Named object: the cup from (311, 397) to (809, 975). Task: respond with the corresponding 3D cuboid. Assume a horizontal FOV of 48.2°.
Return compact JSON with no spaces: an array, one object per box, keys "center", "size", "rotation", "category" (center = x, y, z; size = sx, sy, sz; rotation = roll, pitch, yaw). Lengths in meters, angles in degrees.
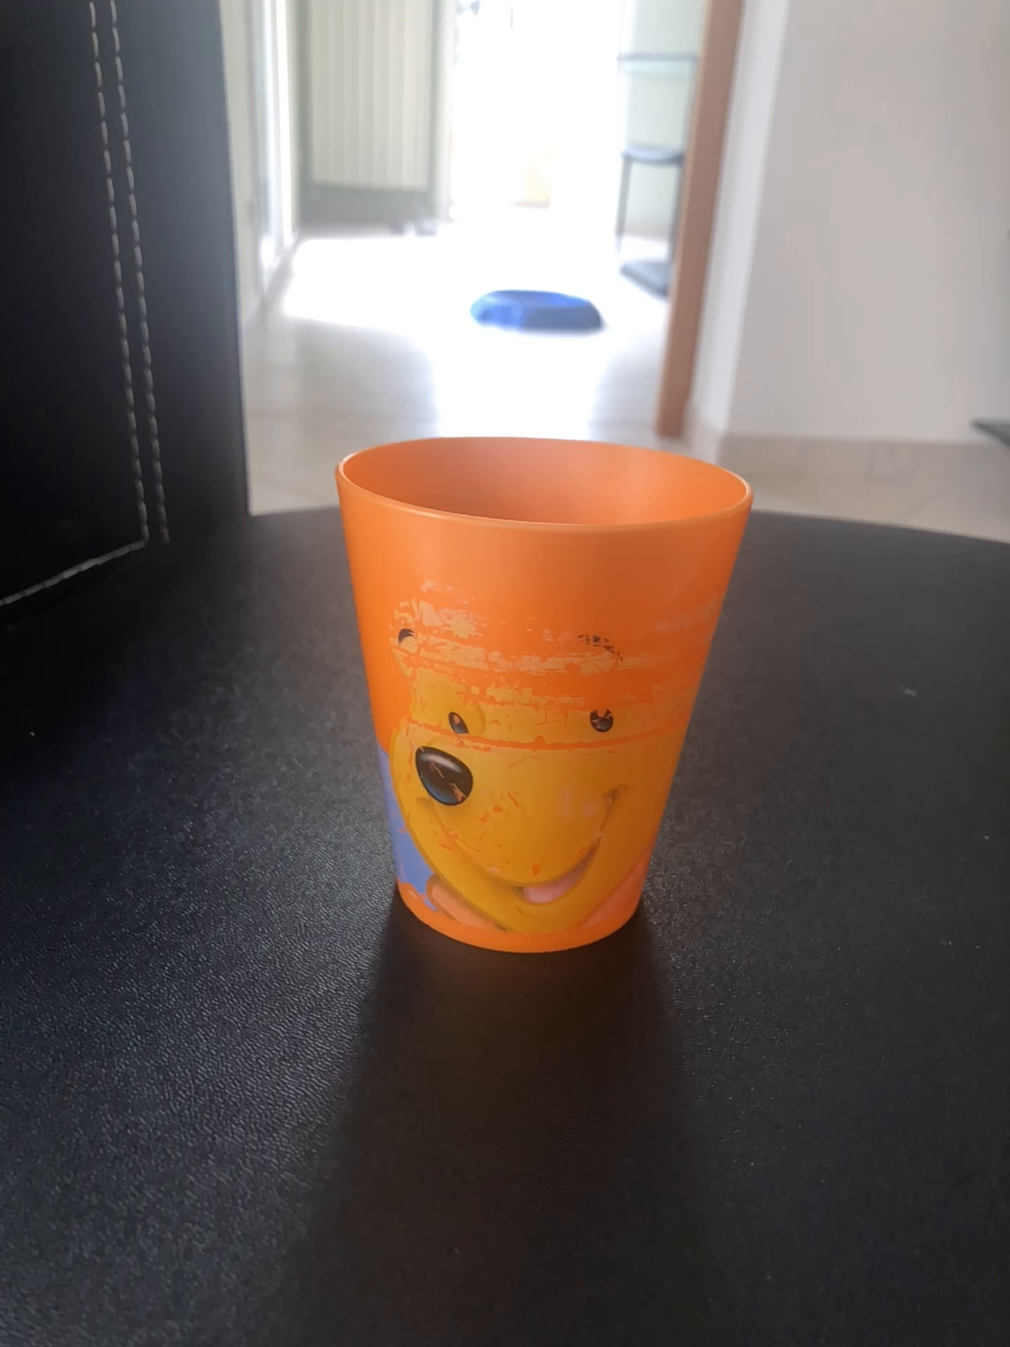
[{"center":[0.002,-0.002,0.232],"size":[0.080,0.090,0.080],"rotation":[3,24,-1],"category":"cup"}]
